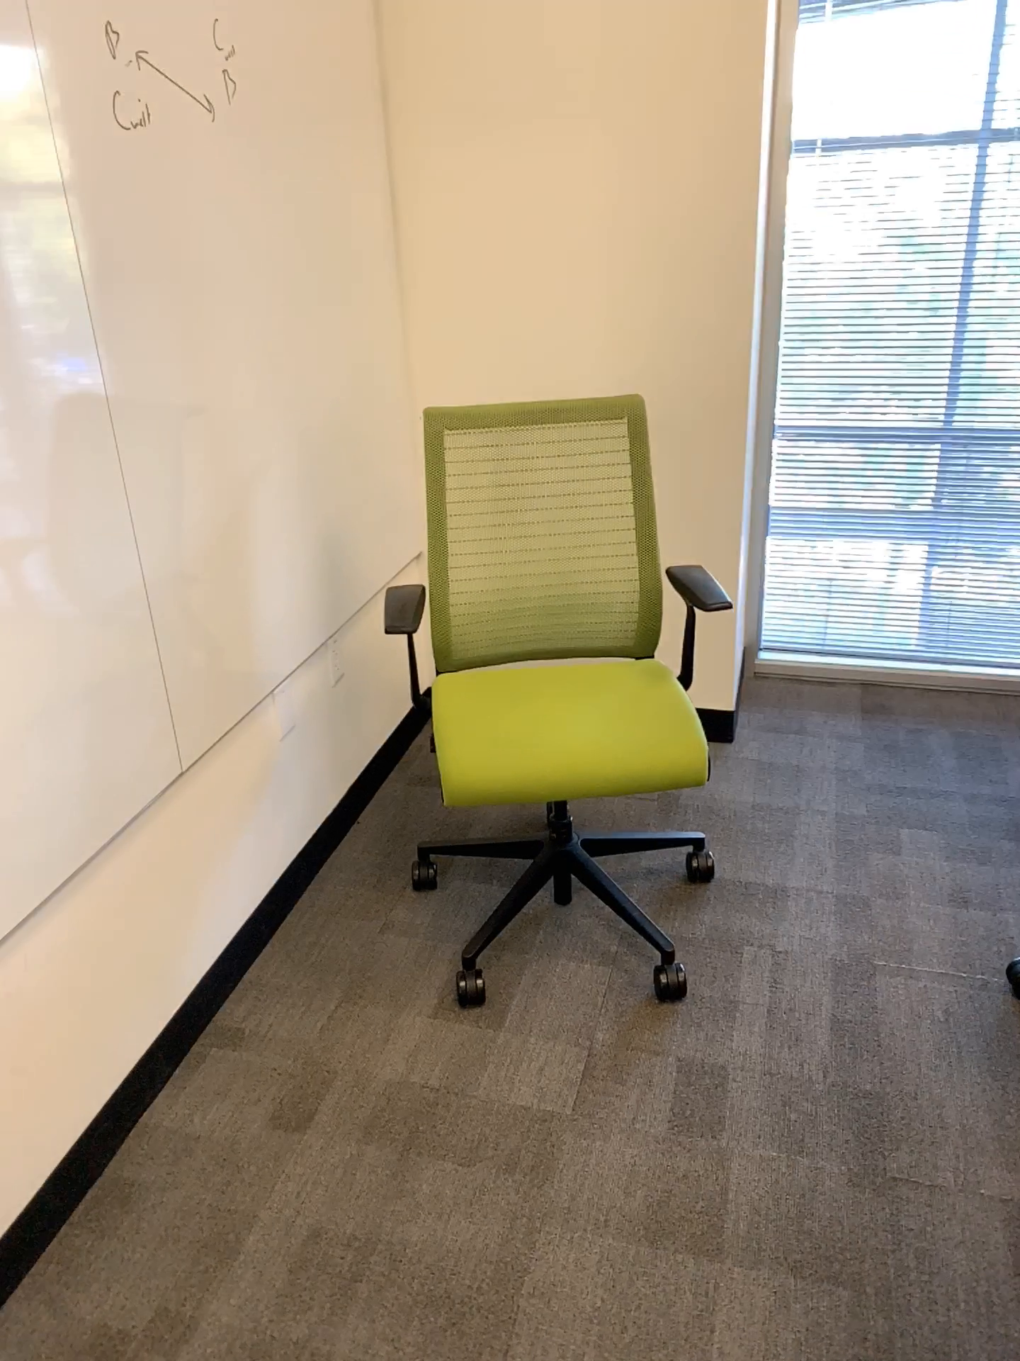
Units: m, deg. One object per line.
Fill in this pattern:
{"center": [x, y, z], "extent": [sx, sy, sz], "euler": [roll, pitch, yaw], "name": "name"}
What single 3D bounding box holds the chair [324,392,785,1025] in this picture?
{"center": [0.074, 0.003, 2.167], "extent": [0.700, 0.994, 0.845], "euler": [-4, 25, -1], "name": "chair"}
